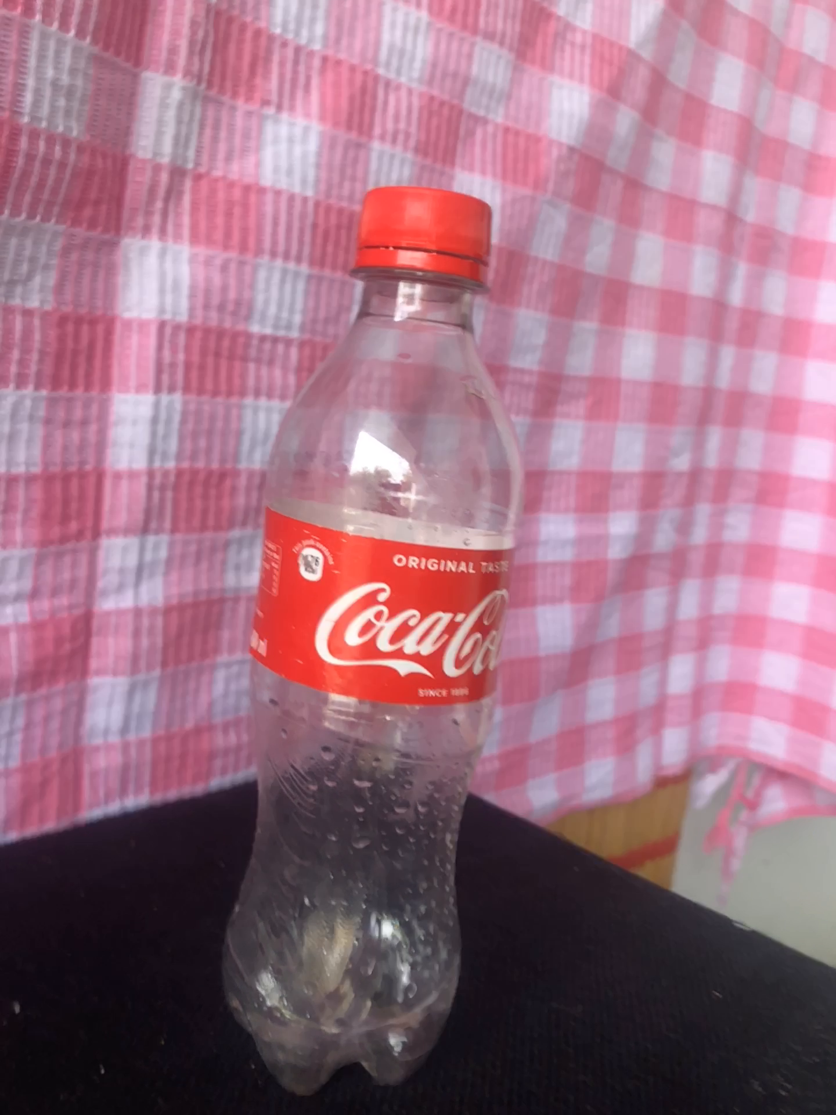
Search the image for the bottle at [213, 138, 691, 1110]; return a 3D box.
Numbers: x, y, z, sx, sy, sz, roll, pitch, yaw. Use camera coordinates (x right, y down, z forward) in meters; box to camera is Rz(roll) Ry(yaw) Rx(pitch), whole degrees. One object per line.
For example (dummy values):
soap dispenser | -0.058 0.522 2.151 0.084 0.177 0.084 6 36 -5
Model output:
bottle | 0.000 0.017 0.214 0.060 0.190 0.060 9 10 -2
